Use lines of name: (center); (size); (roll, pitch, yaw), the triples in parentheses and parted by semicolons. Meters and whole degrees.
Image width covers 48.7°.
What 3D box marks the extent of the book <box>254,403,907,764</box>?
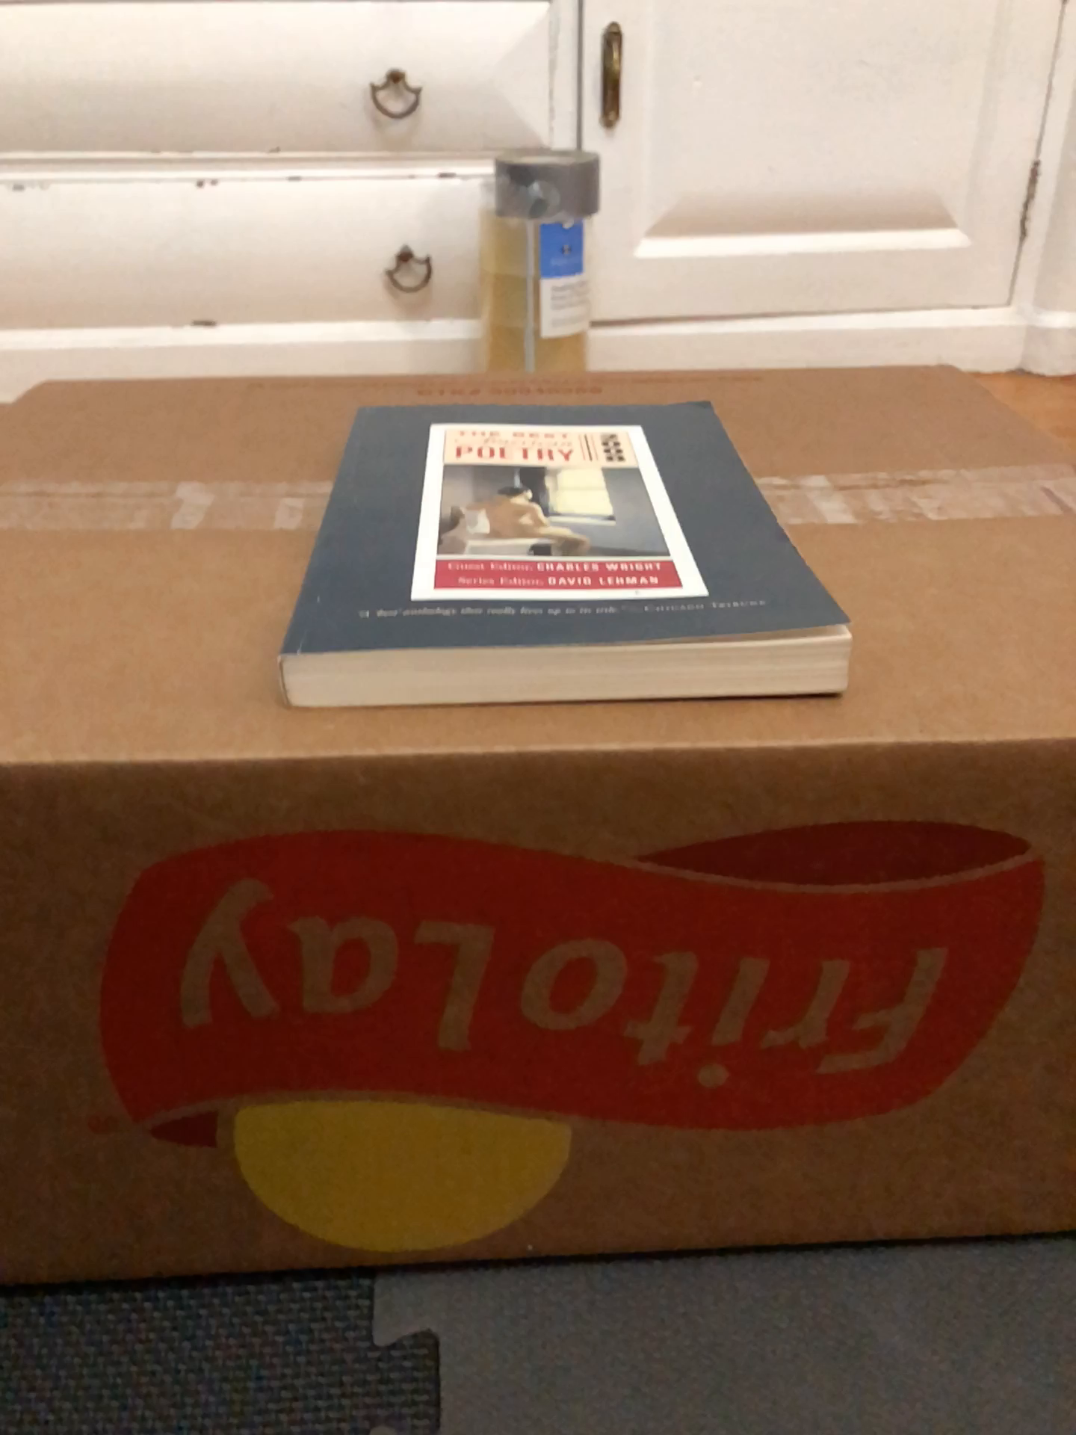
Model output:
book: (0.004, -0.057, 0.377); (0.150, 0.020, 0.231); (-2, 30, -3)
